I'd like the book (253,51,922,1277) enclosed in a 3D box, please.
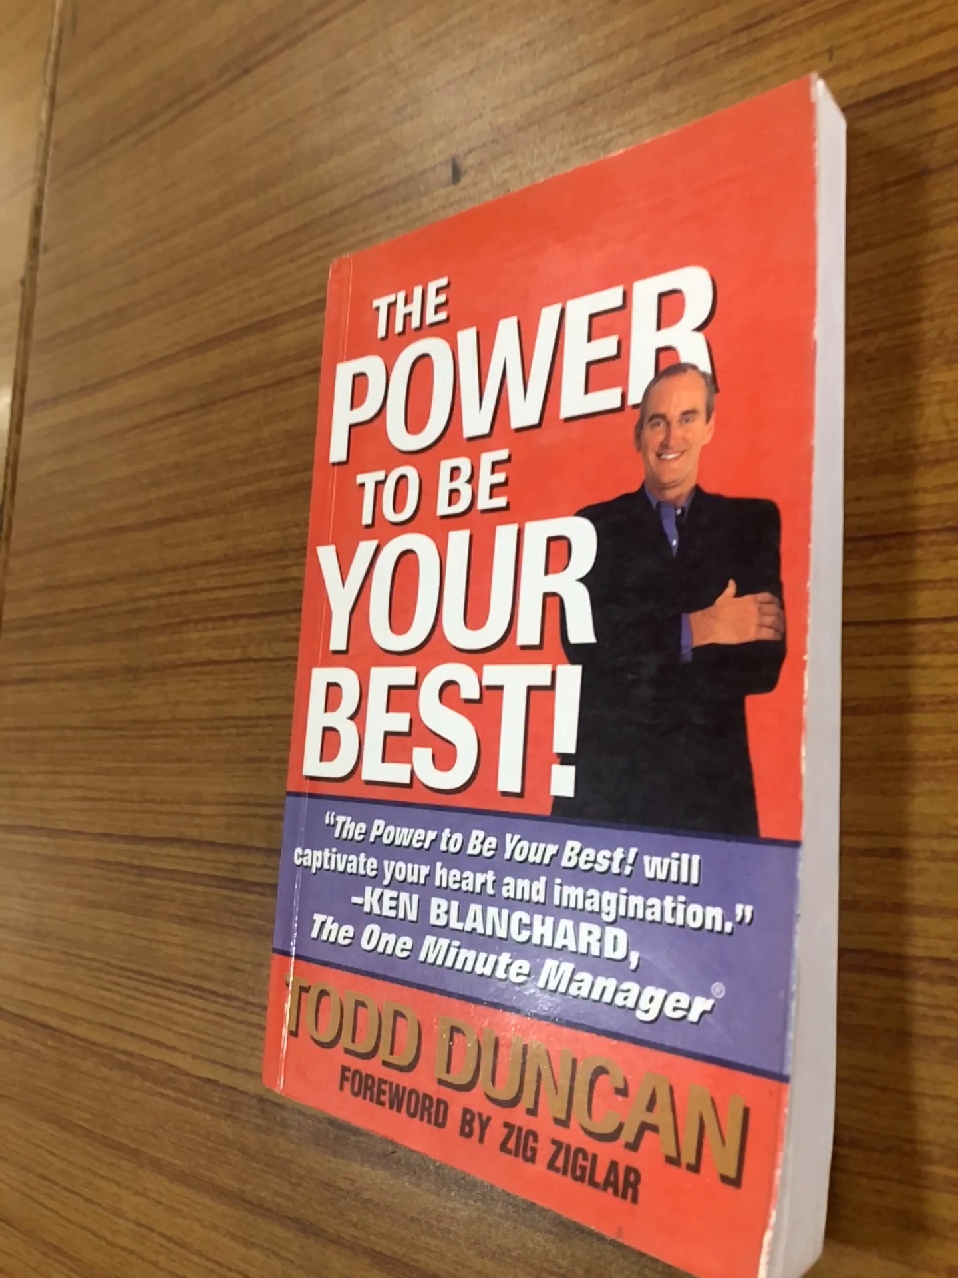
[{"bbox_3d":[0.017,0.005,0.245,0.151,0.030,0.220,-2,82,41],"label":"book"}]
